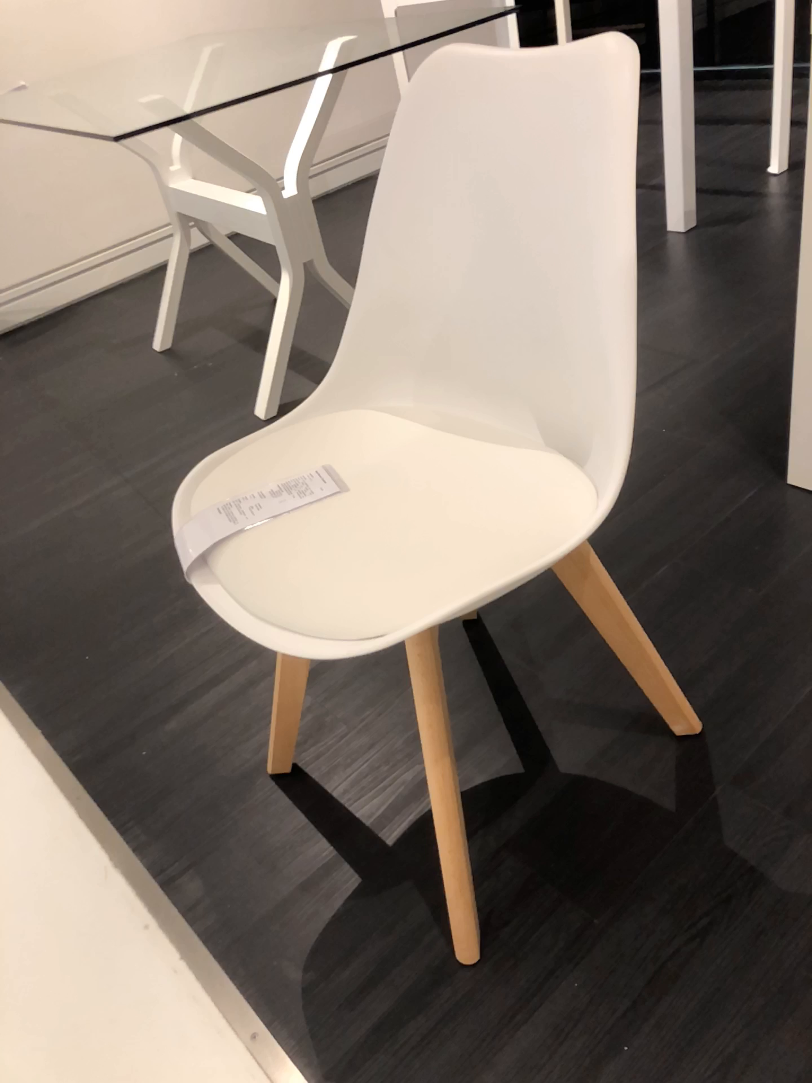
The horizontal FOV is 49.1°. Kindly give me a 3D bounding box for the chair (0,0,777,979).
[{"bbox_3d":[0.018,-0.085,0.989,0.531,0.784,0.503,-33,38,-26],"label":"chair"}]
